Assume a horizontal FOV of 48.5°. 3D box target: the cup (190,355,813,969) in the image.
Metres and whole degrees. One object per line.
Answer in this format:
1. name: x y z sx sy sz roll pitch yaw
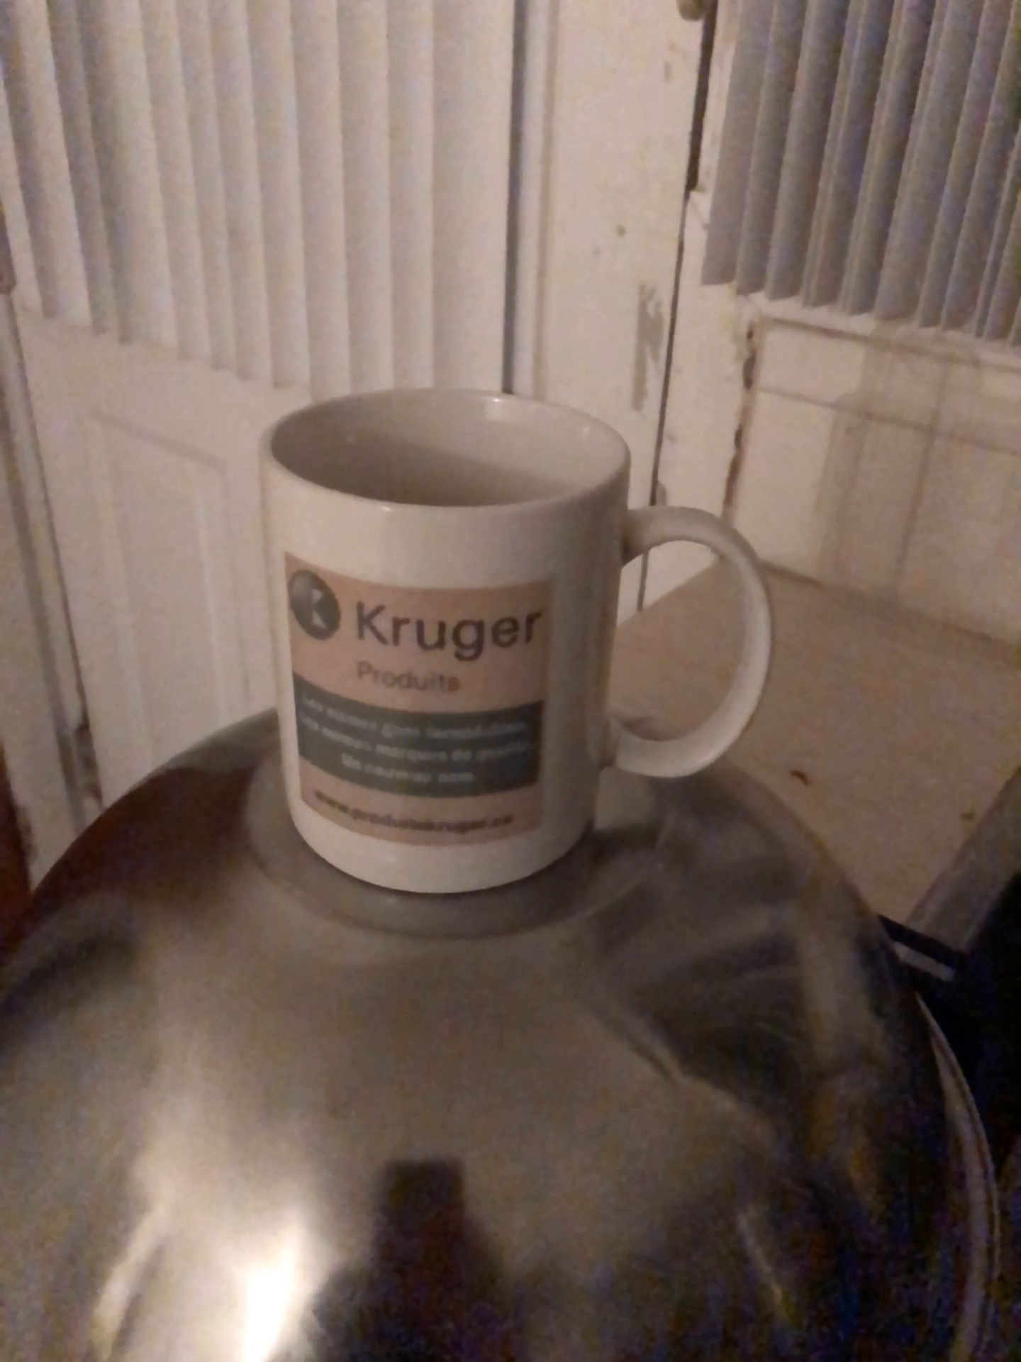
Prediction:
1. cup: 0.001 -0.009 0.282 0.120 0.109 0.091 6 31 6
